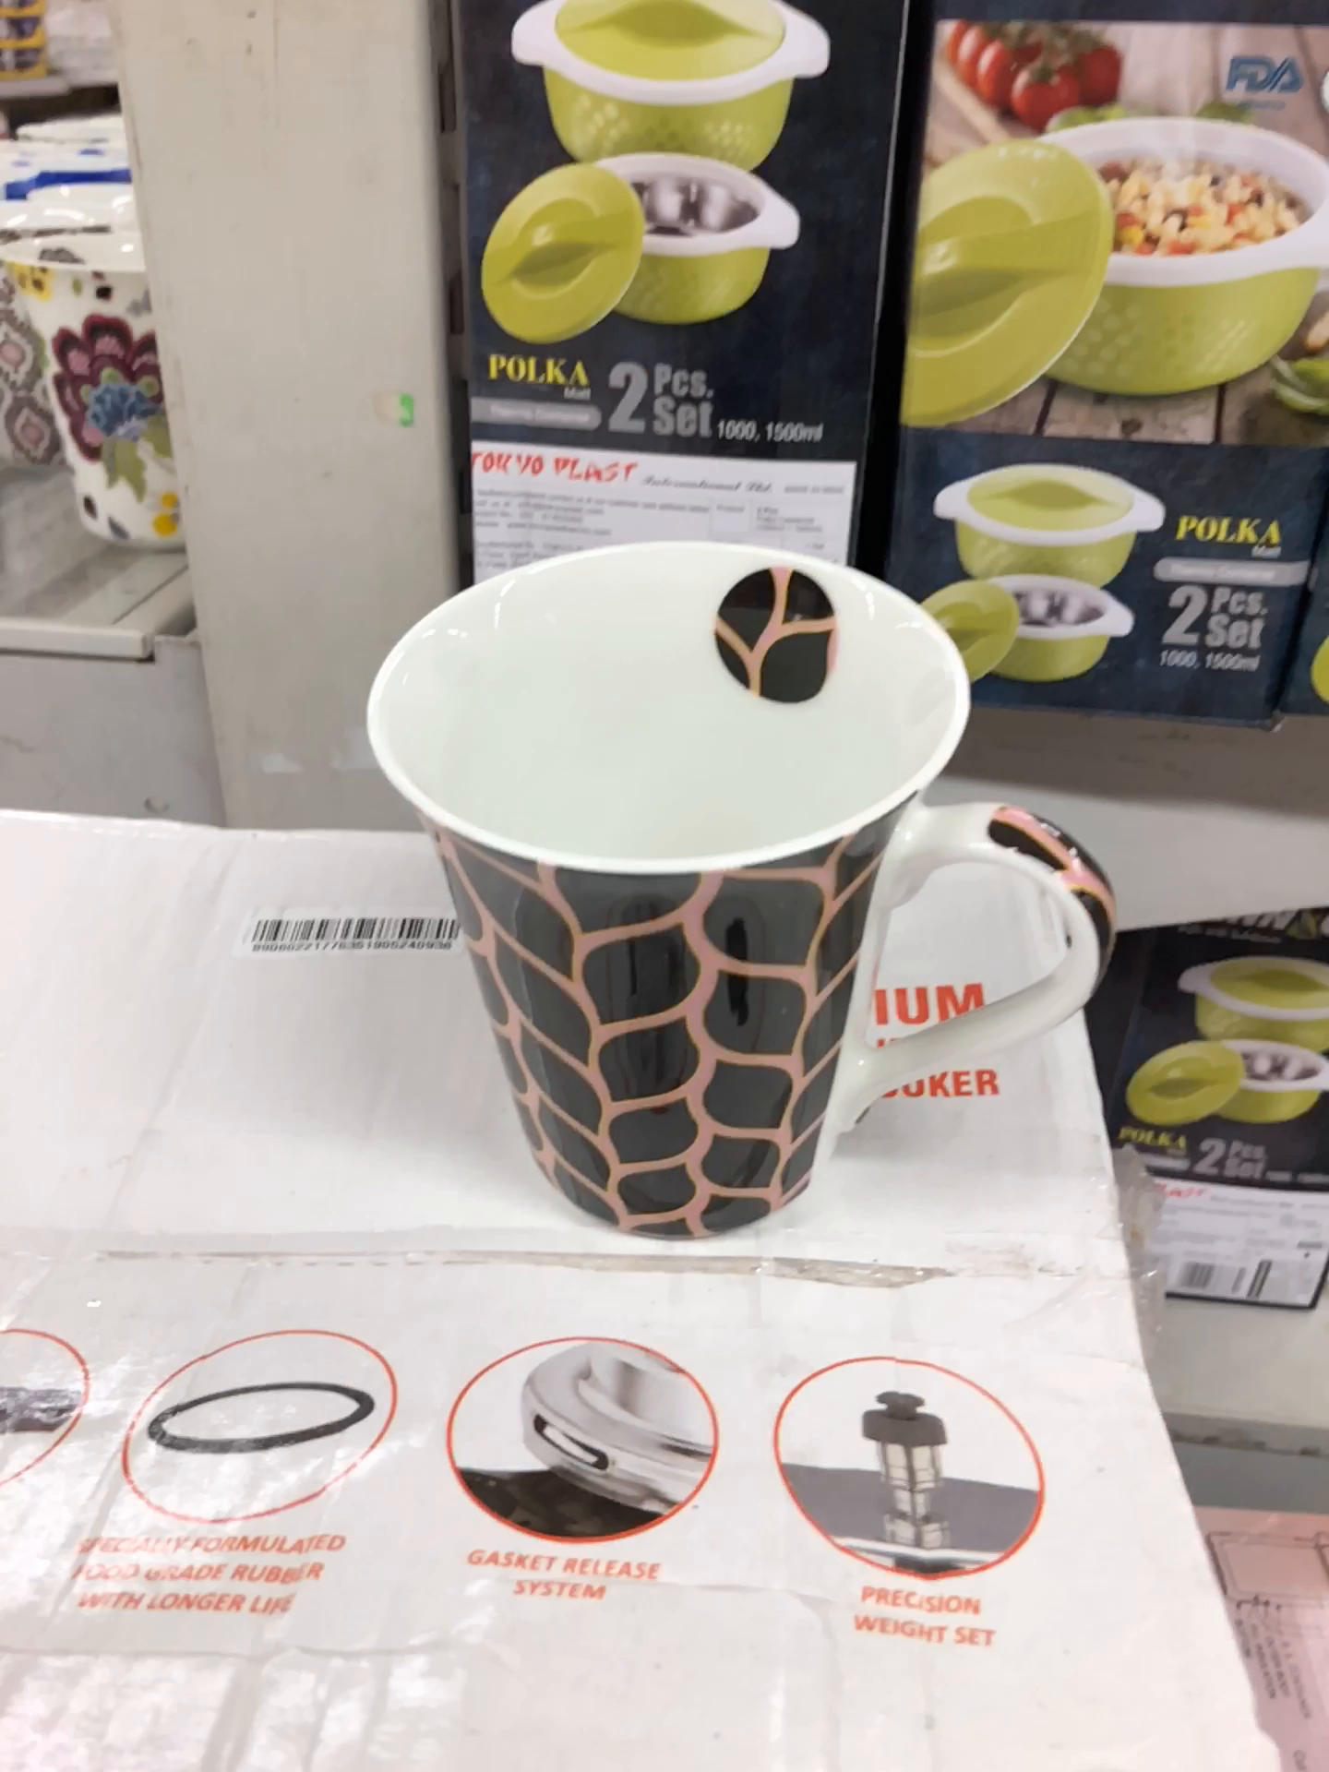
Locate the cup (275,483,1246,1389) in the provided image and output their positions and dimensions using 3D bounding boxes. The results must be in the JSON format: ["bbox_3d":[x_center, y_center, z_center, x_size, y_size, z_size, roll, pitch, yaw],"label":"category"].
[{"bbox_3d":[0.020,-0.001,0.227,0.110,0.079,0.091,12,39,18],"label":"cup"}]
